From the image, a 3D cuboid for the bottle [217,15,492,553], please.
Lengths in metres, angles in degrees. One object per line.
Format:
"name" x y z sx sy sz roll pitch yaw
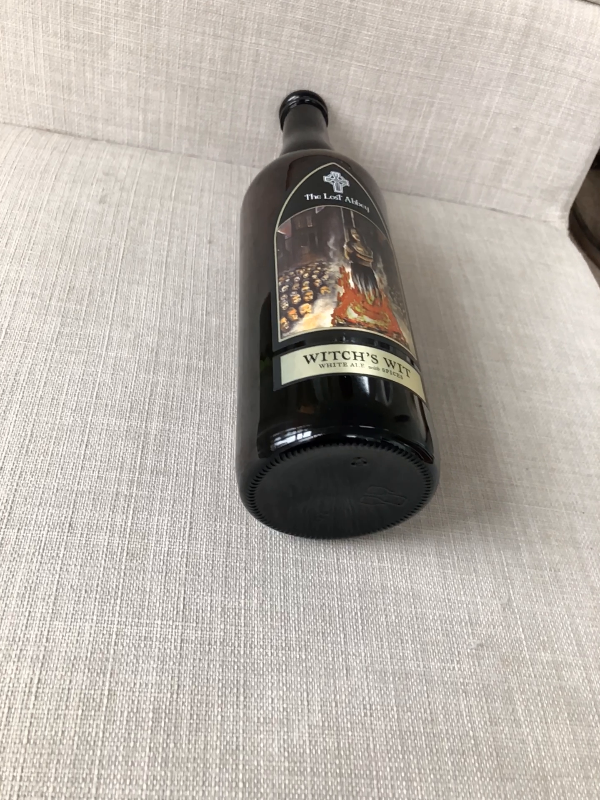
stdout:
"bottle" 0.010 -0.076 0.328 0.080 0.079 0.282 7 52 -12
